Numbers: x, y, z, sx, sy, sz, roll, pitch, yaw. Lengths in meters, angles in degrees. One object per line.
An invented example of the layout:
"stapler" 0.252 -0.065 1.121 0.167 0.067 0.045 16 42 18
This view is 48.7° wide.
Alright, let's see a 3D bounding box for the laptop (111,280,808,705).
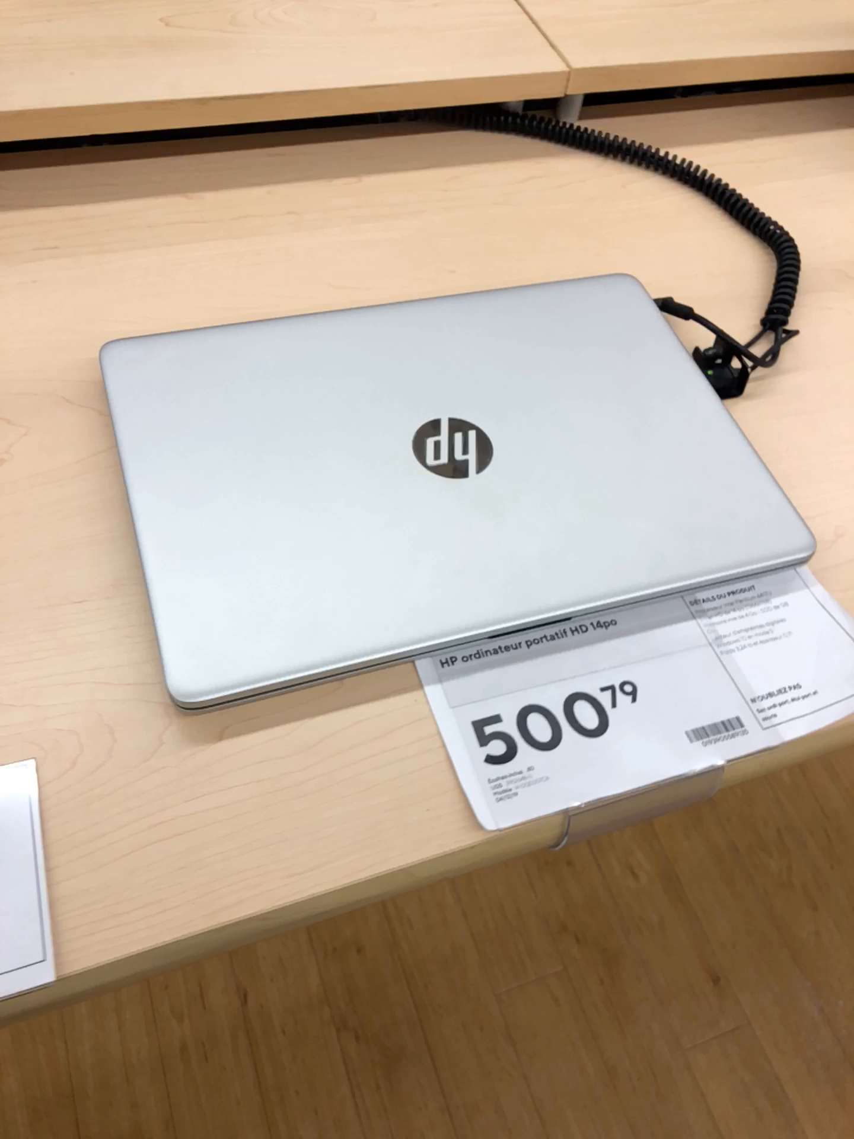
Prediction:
"laptop" 0.015 -0.062 0.479 0.309 0.004 0.205 -12 58 -18
